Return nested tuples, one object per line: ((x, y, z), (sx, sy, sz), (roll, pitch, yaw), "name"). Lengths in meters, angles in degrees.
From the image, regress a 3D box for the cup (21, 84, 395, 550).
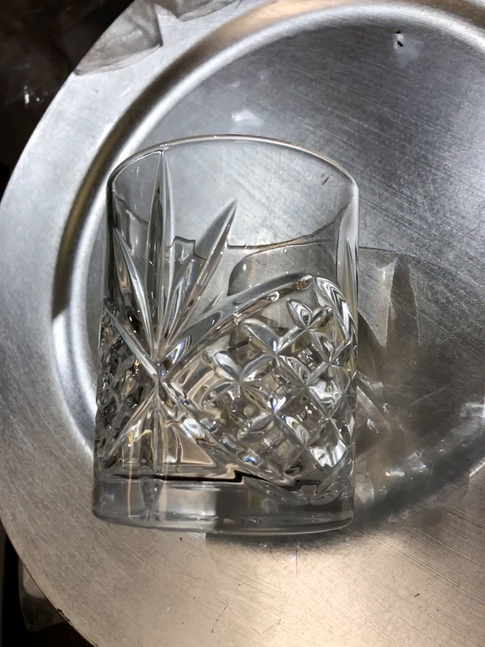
((-0.006, 0.004, 0.158), (0.080, 0.060, 0.100), (-7, 74, 29), "cup")
